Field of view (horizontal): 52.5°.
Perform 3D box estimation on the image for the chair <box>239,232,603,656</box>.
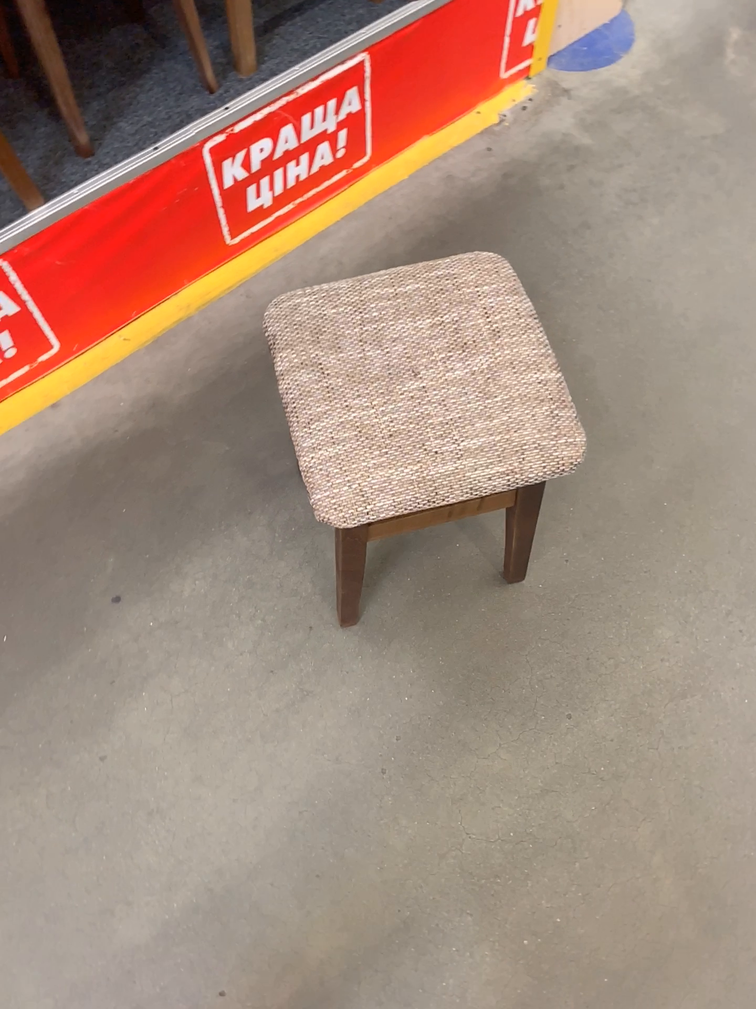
[{"bbox_3d":[0.038,-0.054,1.119,0.340,0.479,0.361,-14,65,-6],"label":"chair"}]
